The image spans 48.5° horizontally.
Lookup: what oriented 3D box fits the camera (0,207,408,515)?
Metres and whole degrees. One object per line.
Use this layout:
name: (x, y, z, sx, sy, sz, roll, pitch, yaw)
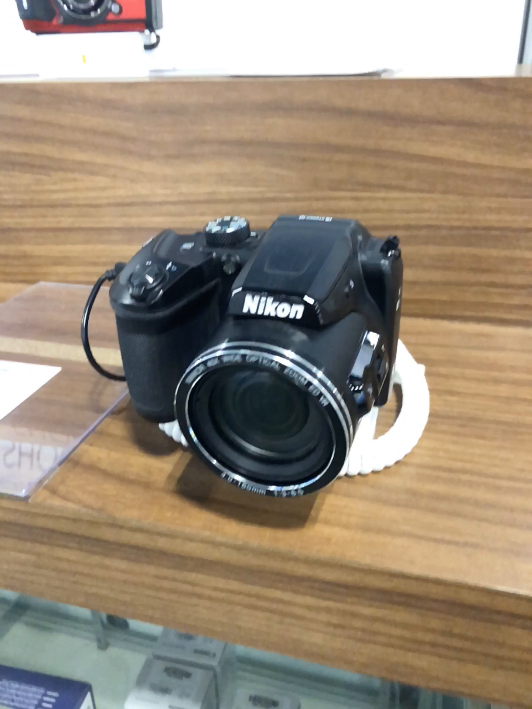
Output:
camera: (-0.017, -0.009, 0.229, 0.130, 0.070, 0.101, 6, 26, 14)
